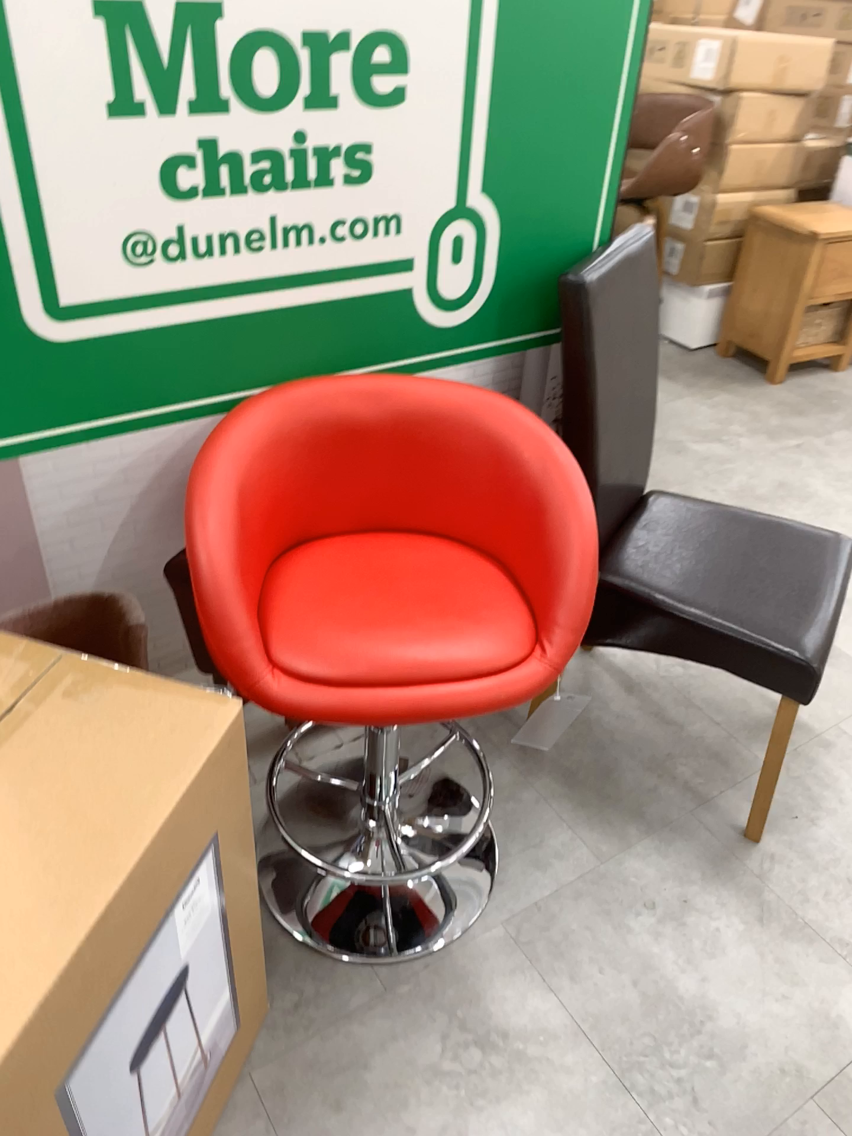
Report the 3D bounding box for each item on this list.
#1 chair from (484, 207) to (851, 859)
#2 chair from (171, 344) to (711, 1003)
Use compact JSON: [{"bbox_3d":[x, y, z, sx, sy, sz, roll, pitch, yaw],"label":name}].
[{"bbox_3d":[0.480,-0.074,1.485,0.532,0.853,0.508,19,38,21],"label":"chair"},{"bbox_3d":[-0.035,0.138,1.256,0.534,0.744,0.465,-7,36,-15],"label":"chair"}]
